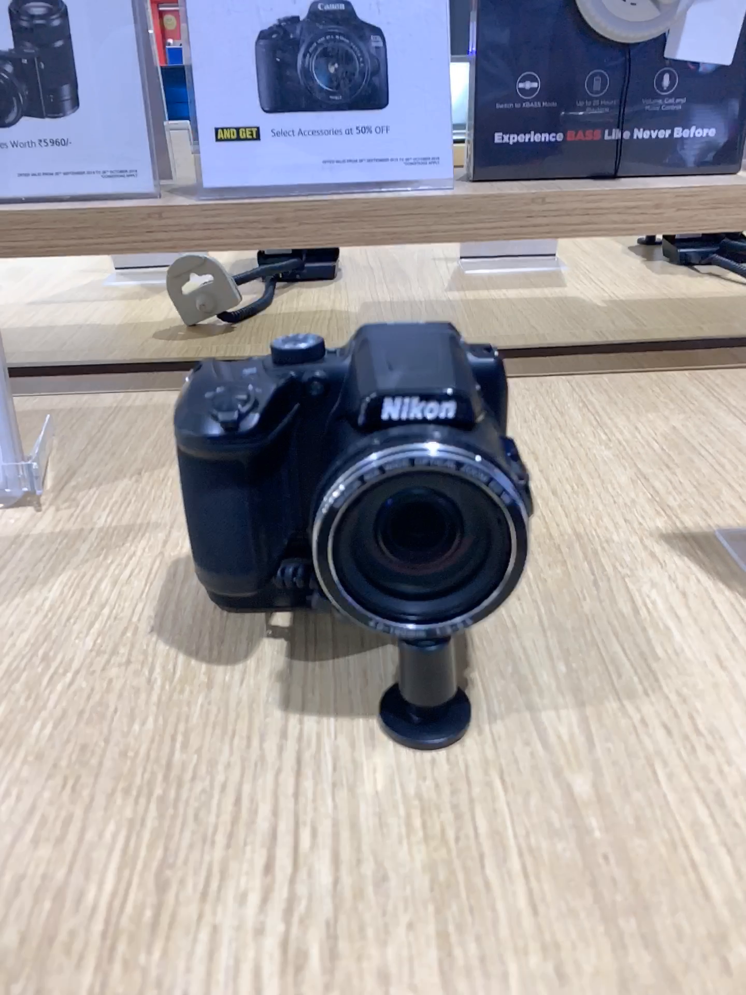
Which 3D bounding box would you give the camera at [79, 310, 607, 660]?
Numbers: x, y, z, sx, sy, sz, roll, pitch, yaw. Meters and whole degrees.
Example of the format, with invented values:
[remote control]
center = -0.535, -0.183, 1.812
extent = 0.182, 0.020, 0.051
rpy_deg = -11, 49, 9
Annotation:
[camera]
center = -0.007, -0.008, 0.224
extent = 0.120, 0.070, 0.080
rpy_deg = -2, 28, -1
